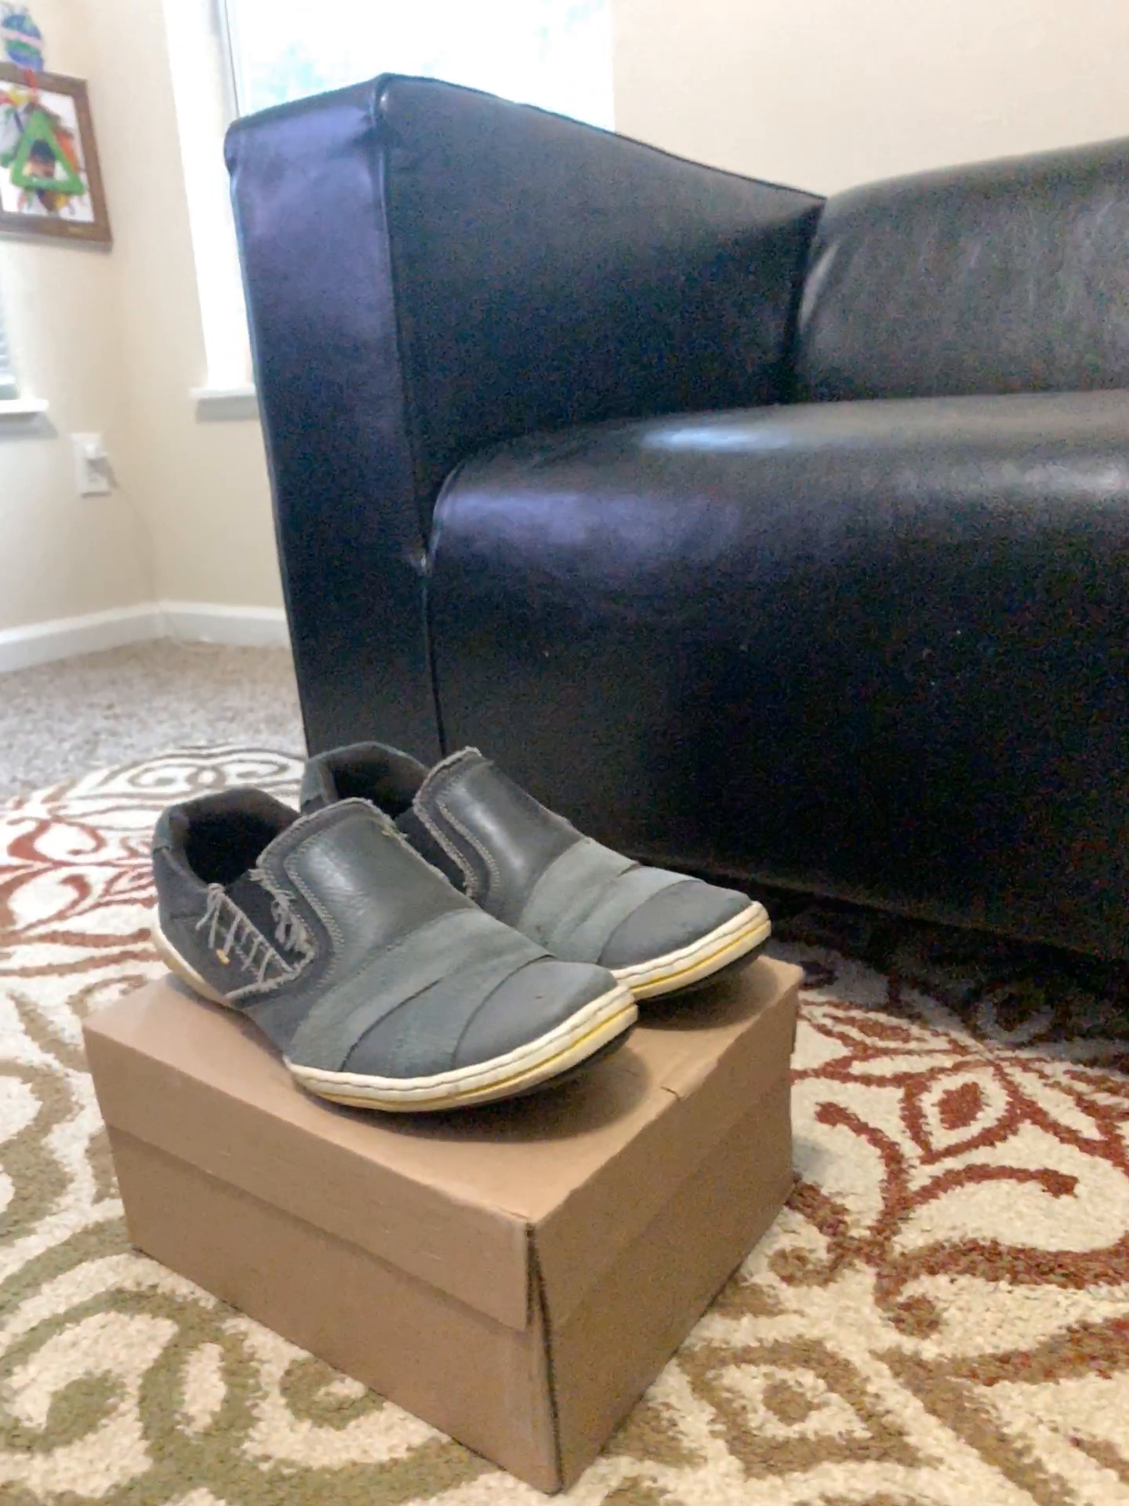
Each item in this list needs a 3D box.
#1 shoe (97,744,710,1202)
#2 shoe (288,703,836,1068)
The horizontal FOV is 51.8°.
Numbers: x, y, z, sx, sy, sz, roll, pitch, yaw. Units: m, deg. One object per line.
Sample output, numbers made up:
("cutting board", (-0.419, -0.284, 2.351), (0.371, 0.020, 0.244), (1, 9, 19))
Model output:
("shoe", (-0.081, 0.078, 0.541), (0.261, 0.100, 0.140), (11, 21, 41))
("shoe", (-0.007, 0.051, 0.620), (0.261, 0.100, 0.140), (11, 21, 41))
